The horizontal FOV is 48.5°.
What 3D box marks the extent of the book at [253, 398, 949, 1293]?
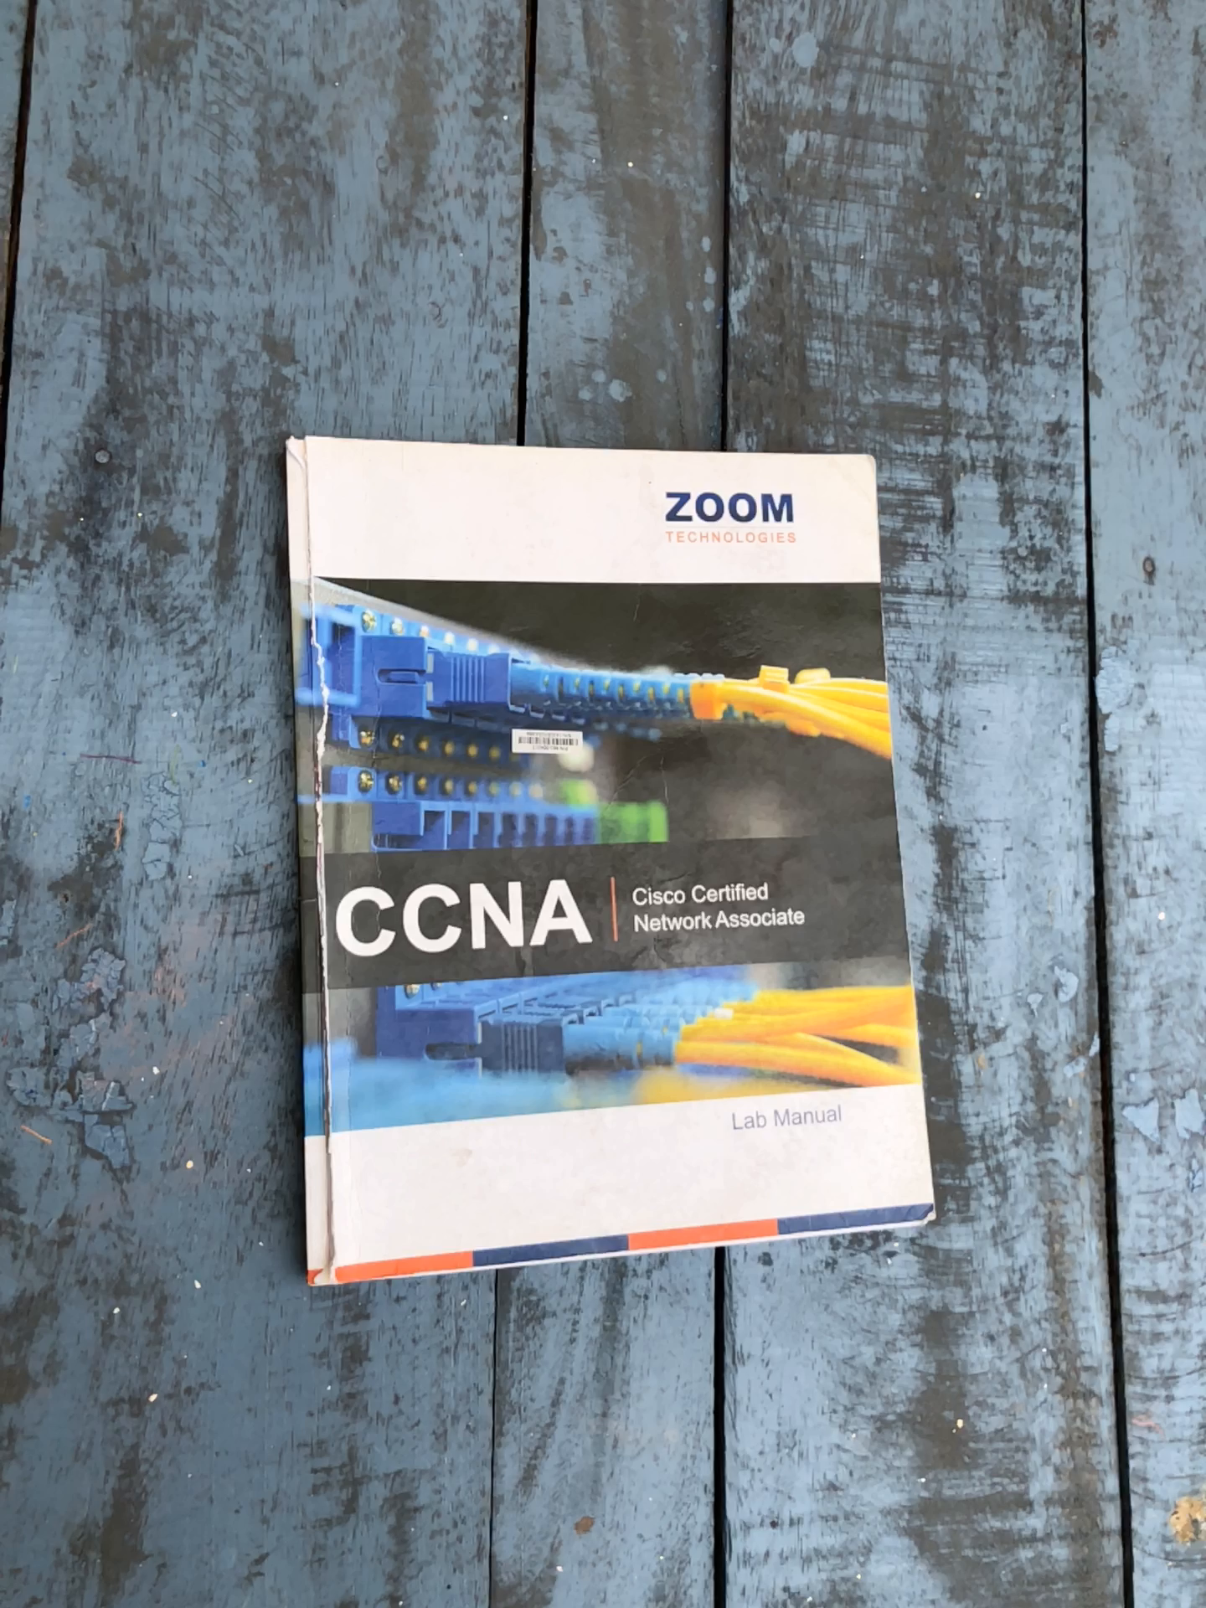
[{"bbox_3d":[-0.003,0.005,0.422,0.200,0.030,0.260,-2,81,-13],"label":"book"}]
